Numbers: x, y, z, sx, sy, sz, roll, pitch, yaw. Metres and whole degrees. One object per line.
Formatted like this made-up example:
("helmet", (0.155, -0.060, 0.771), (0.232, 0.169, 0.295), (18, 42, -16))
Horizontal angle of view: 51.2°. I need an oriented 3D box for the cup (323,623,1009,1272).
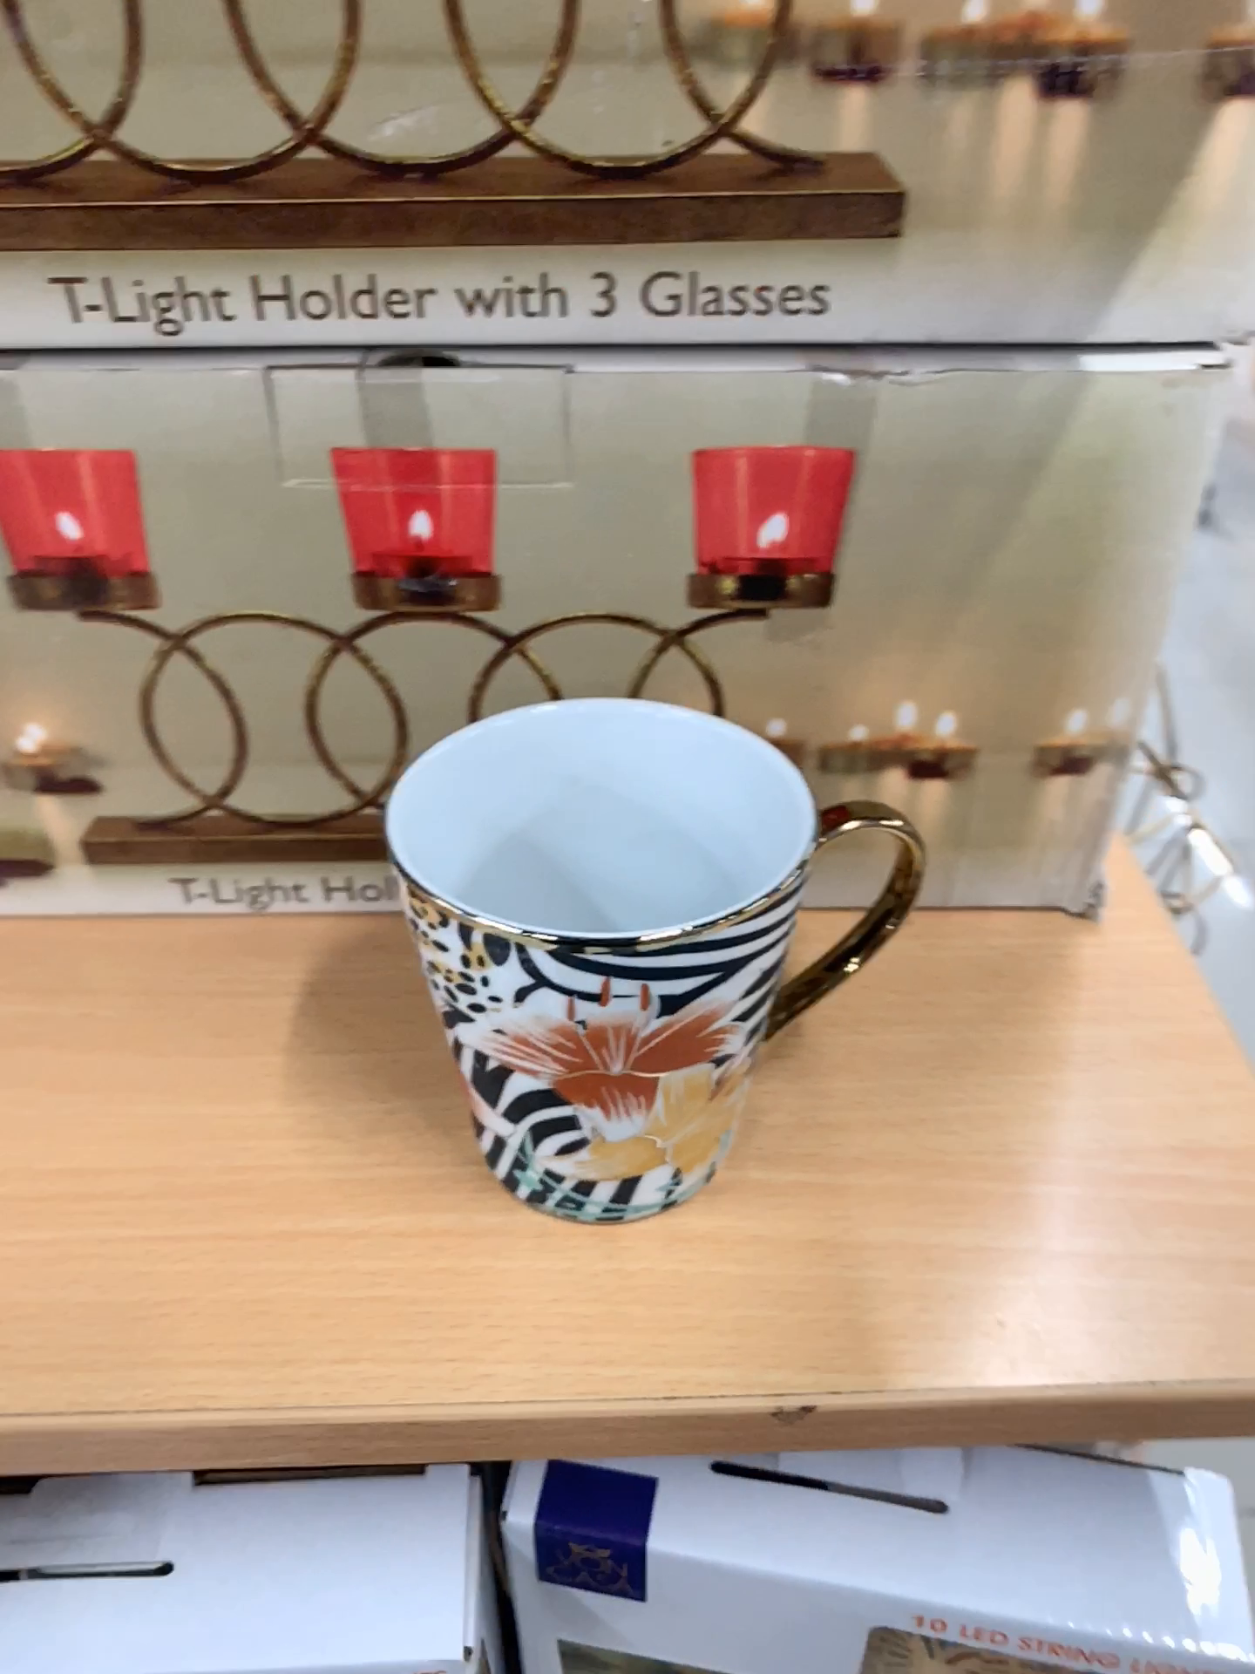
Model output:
("cup", (0.002, 0.016, 0.245), (0.100, 0.080, 0.070), (-8, 36, -15))
